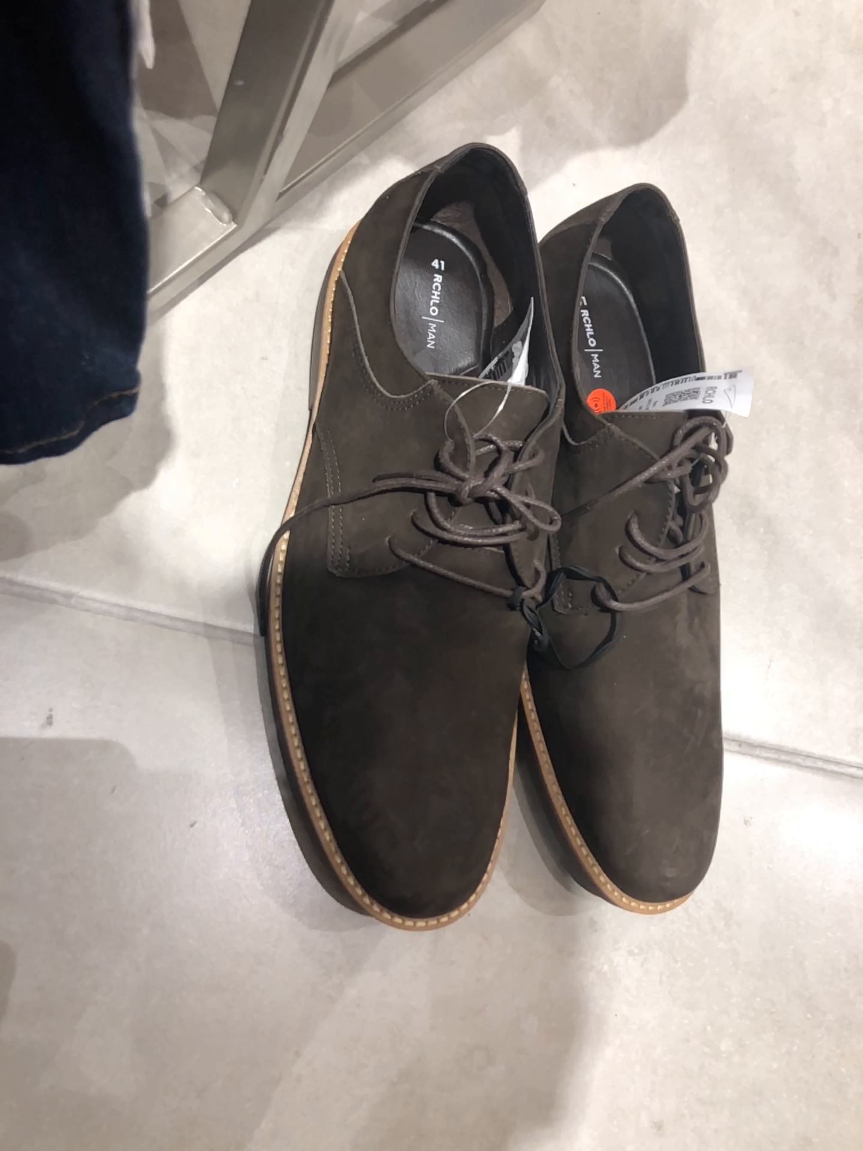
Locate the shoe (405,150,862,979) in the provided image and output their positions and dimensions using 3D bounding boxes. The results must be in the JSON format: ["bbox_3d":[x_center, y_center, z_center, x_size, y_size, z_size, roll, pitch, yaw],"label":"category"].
[{"bbox_3d":[0.080,-0.006,0.413,0.110,0.120,0.300,-4,81,-23],"label":"shoe"}]

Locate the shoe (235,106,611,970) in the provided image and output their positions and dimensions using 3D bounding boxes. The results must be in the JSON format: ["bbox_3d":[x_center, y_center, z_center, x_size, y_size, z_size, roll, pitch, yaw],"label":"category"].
[{"bbox_3d":[-0.012,-0.012,0.396,0.110,0.120,0.300,3,78,-21],"label":"shoe"}]
